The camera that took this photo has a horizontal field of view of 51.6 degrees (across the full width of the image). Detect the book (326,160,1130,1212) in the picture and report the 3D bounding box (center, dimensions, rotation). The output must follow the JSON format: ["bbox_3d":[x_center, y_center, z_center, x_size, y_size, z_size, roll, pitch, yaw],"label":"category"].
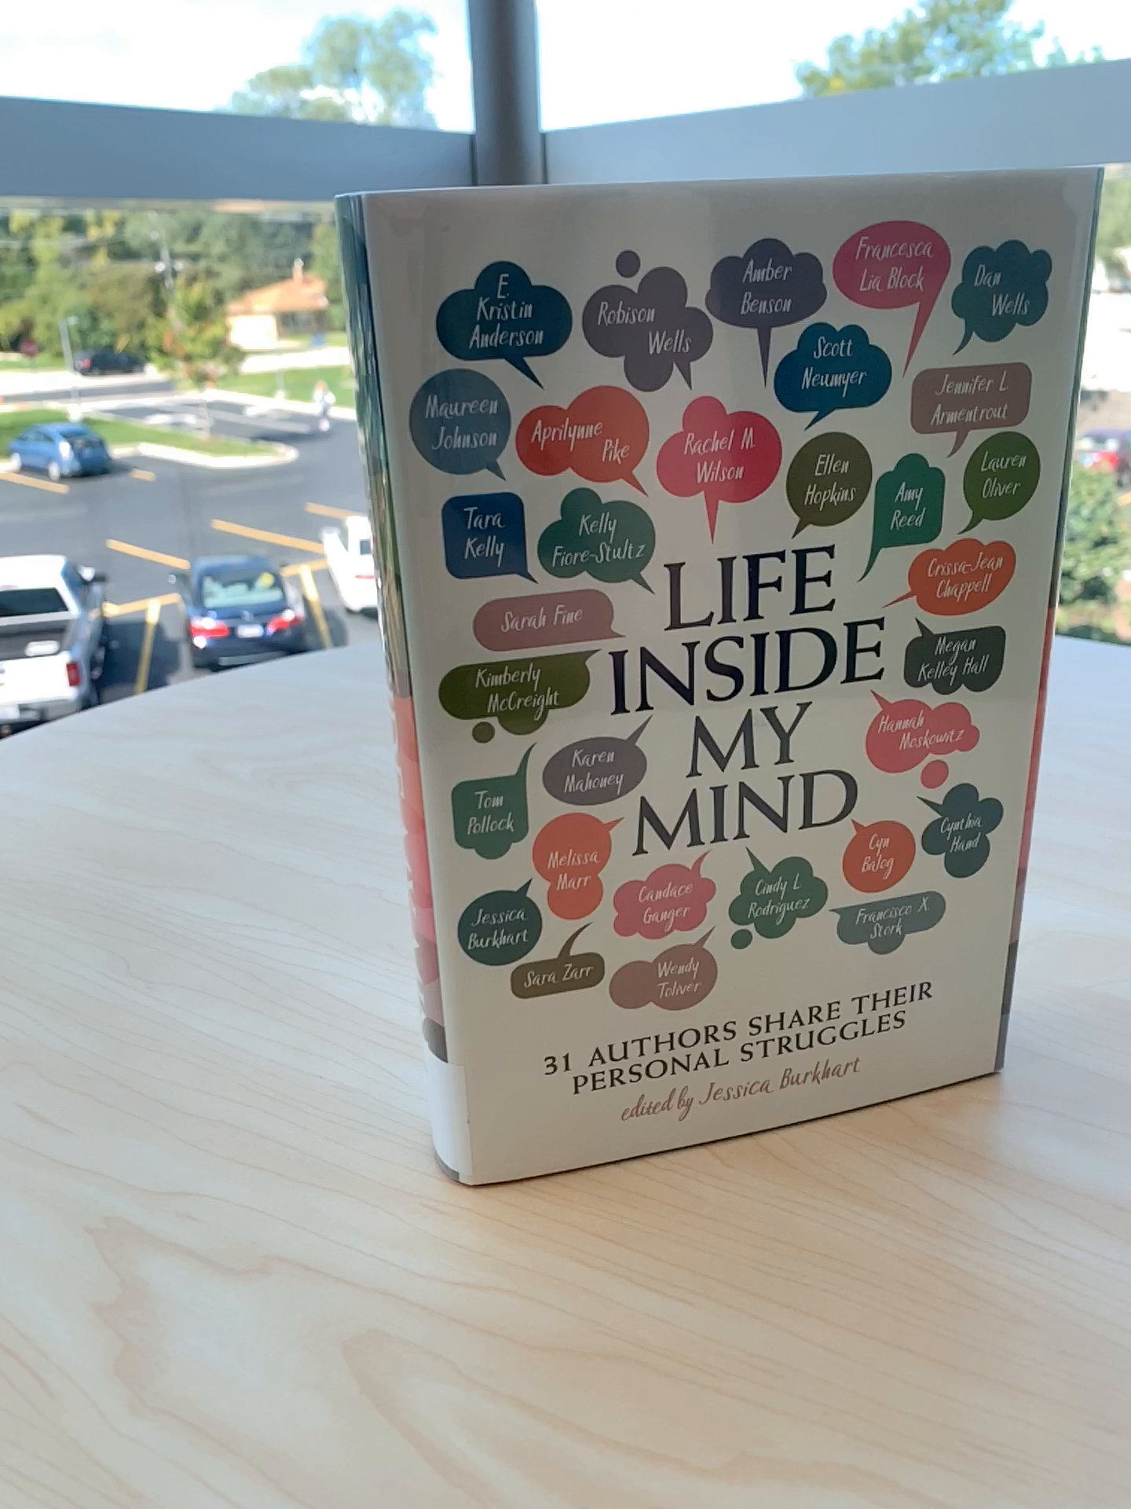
[{"bbox_3d":[0.035,-0.008,0.261,0.150,0.218,0.030,-8,25,-13],"label":"book"}]
